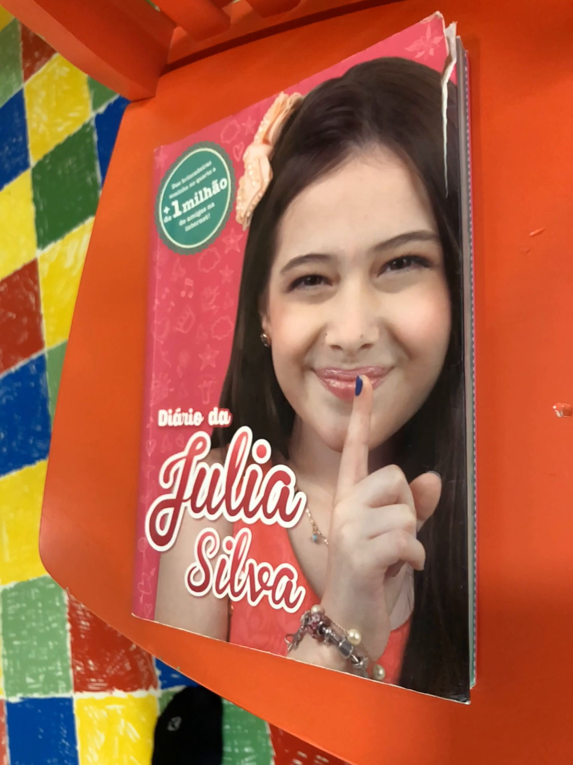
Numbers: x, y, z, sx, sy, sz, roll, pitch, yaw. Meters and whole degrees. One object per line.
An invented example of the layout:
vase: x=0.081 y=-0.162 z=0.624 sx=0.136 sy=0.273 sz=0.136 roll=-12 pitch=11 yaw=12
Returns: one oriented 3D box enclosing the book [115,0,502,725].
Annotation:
book: x=0.000 y=-0.011 z=0.268 sx=0.171 sy=0.020 sz=0.241 roll=-3 pitch=81 yaw=36
